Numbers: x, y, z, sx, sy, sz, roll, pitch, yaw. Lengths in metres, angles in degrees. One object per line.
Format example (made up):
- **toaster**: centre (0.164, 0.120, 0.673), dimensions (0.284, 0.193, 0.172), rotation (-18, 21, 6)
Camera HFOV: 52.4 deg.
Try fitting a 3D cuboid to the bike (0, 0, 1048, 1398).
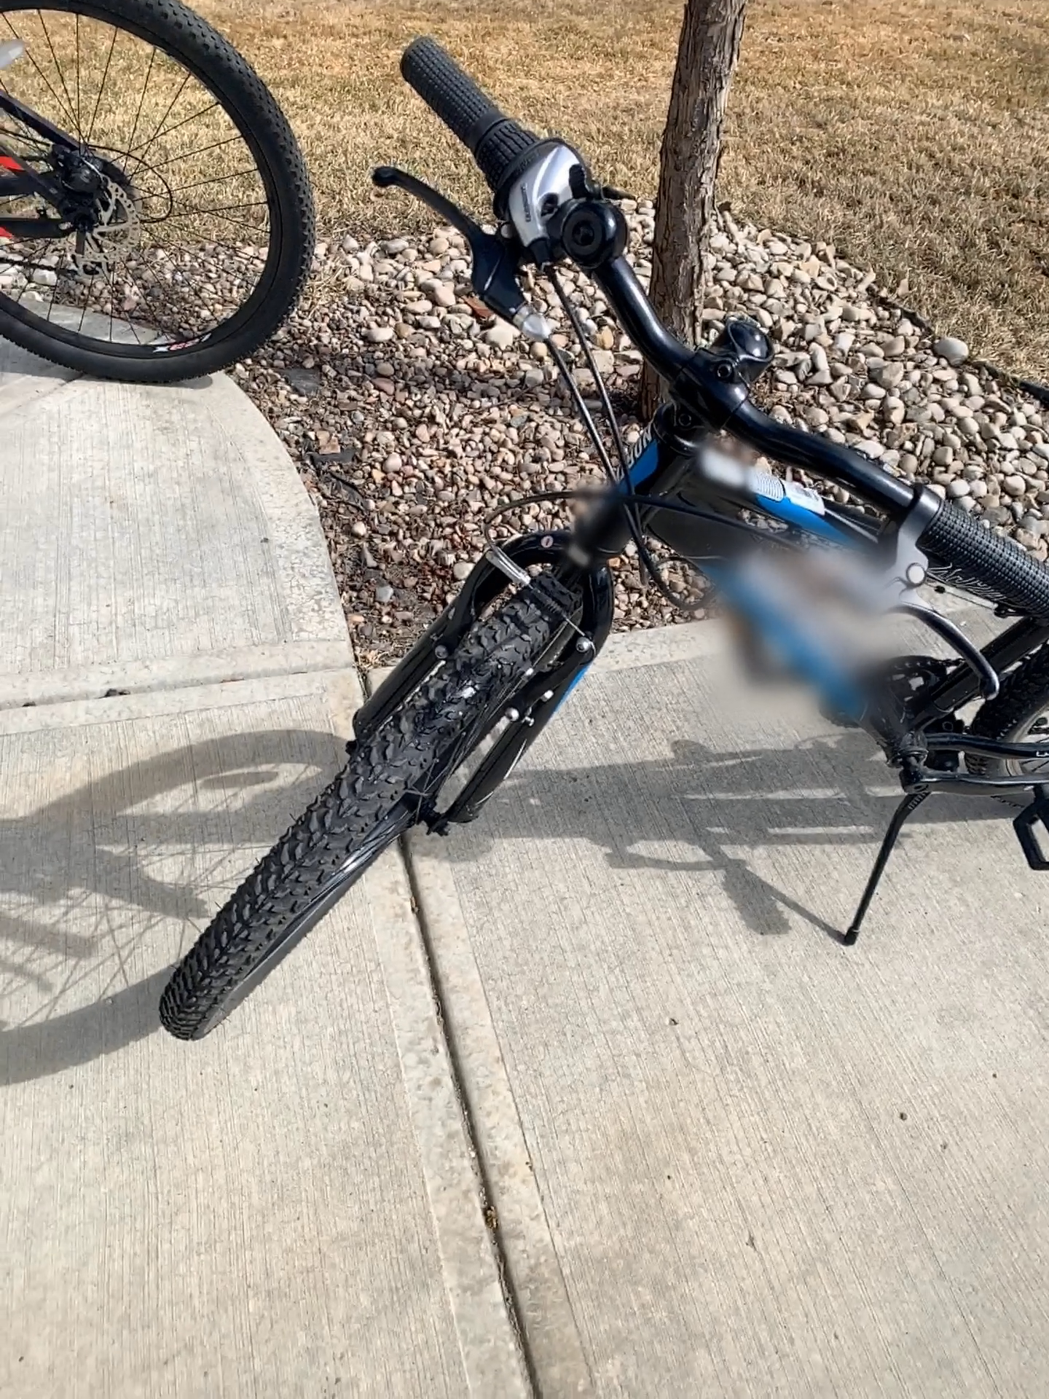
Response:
- **bike**: centre (0.372, 0.051, 0.924), dimensions (1.389, 0.886, 0.516), rotation (-13, 49, -8)
